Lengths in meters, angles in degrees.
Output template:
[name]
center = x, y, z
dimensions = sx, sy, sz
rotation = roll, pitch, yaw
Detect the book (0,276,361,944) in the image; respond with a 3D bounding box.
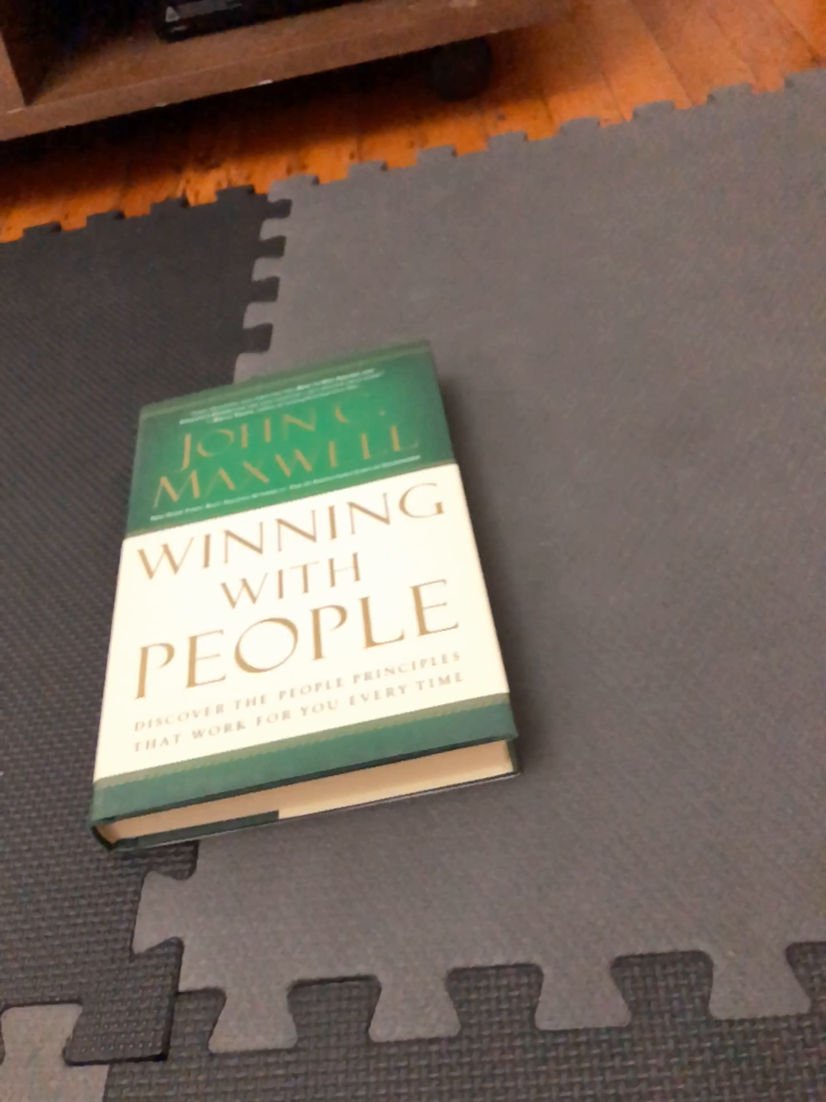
[book]
center = -0.127, -0.004, 0.385
dimensions = 0.200, 0.030, 0.291
rotation = -11, 47, 5
